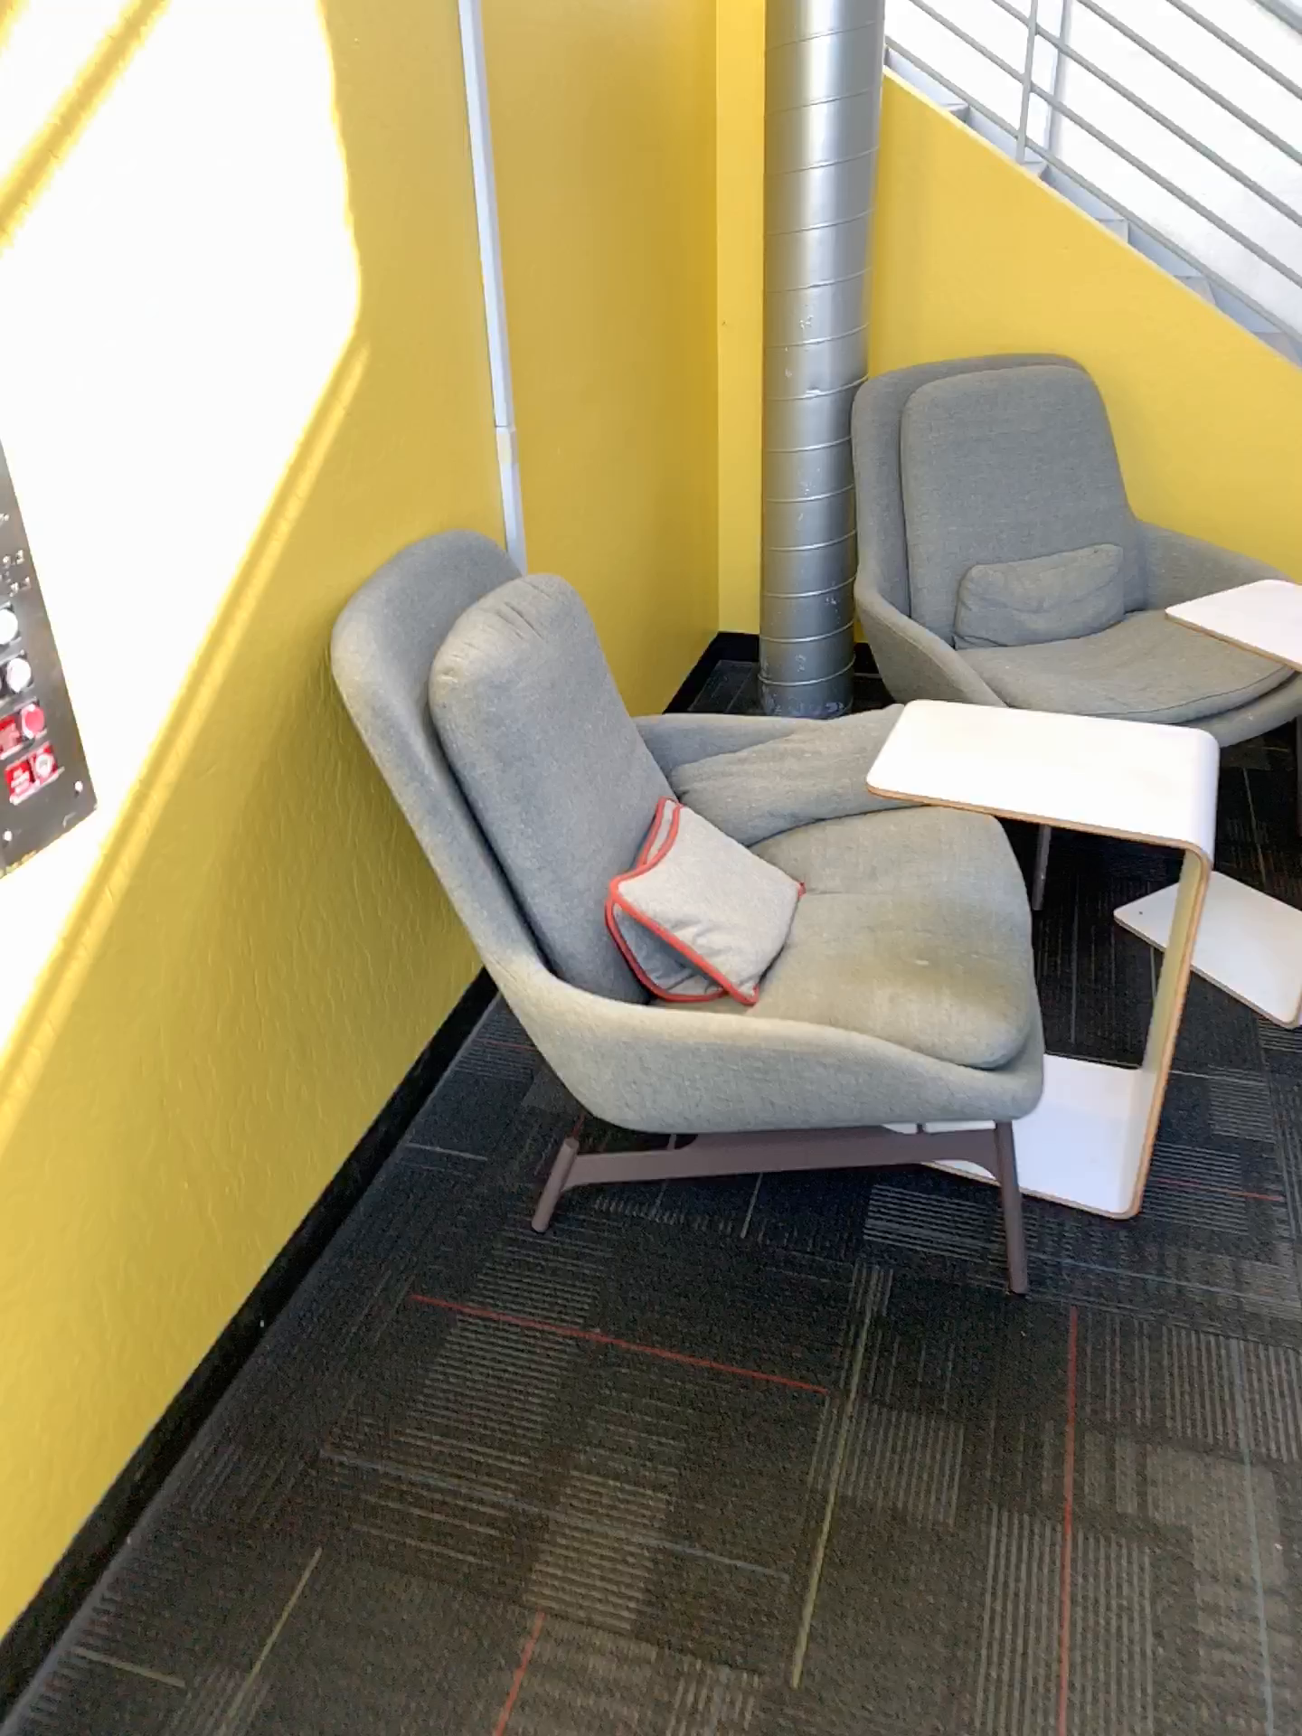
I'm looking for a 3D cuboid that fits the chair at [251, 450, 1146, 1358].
[{"bbox_3d":[0.116,0.003,1.847,0.870,0.924,0.805,1,30,10],"label":"chair"}]

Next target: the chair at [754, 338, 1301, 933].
[{"bbox_3d":[0.844,-0.594,3.049,0.891,1.014,0.845,-15,30,-20],"label":"chair"}]
